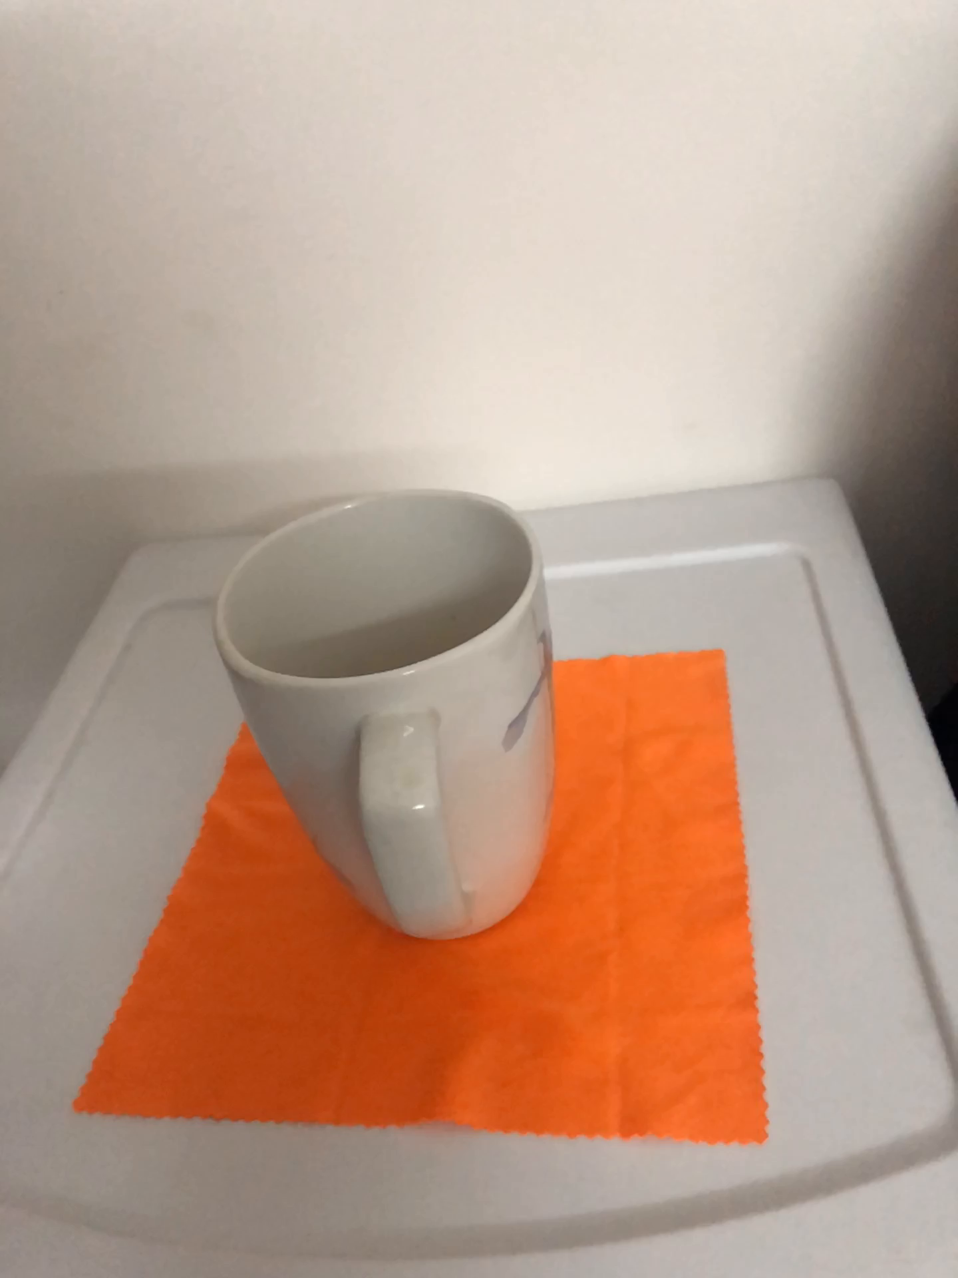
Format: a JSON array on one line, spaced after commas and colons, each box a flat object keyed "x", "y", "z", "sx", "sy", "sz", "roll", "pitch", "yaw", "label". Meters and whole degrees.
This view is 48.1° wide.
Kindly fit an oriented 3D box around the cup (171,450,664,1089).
[{"x": -0.010, "y": 0.029, "z": 0.283, "sx": 0.090, "sy": 0.100, "sz": 0.120, "roll": -9, "pitch": 36, "yaw": 3, "label": "cup"}]
